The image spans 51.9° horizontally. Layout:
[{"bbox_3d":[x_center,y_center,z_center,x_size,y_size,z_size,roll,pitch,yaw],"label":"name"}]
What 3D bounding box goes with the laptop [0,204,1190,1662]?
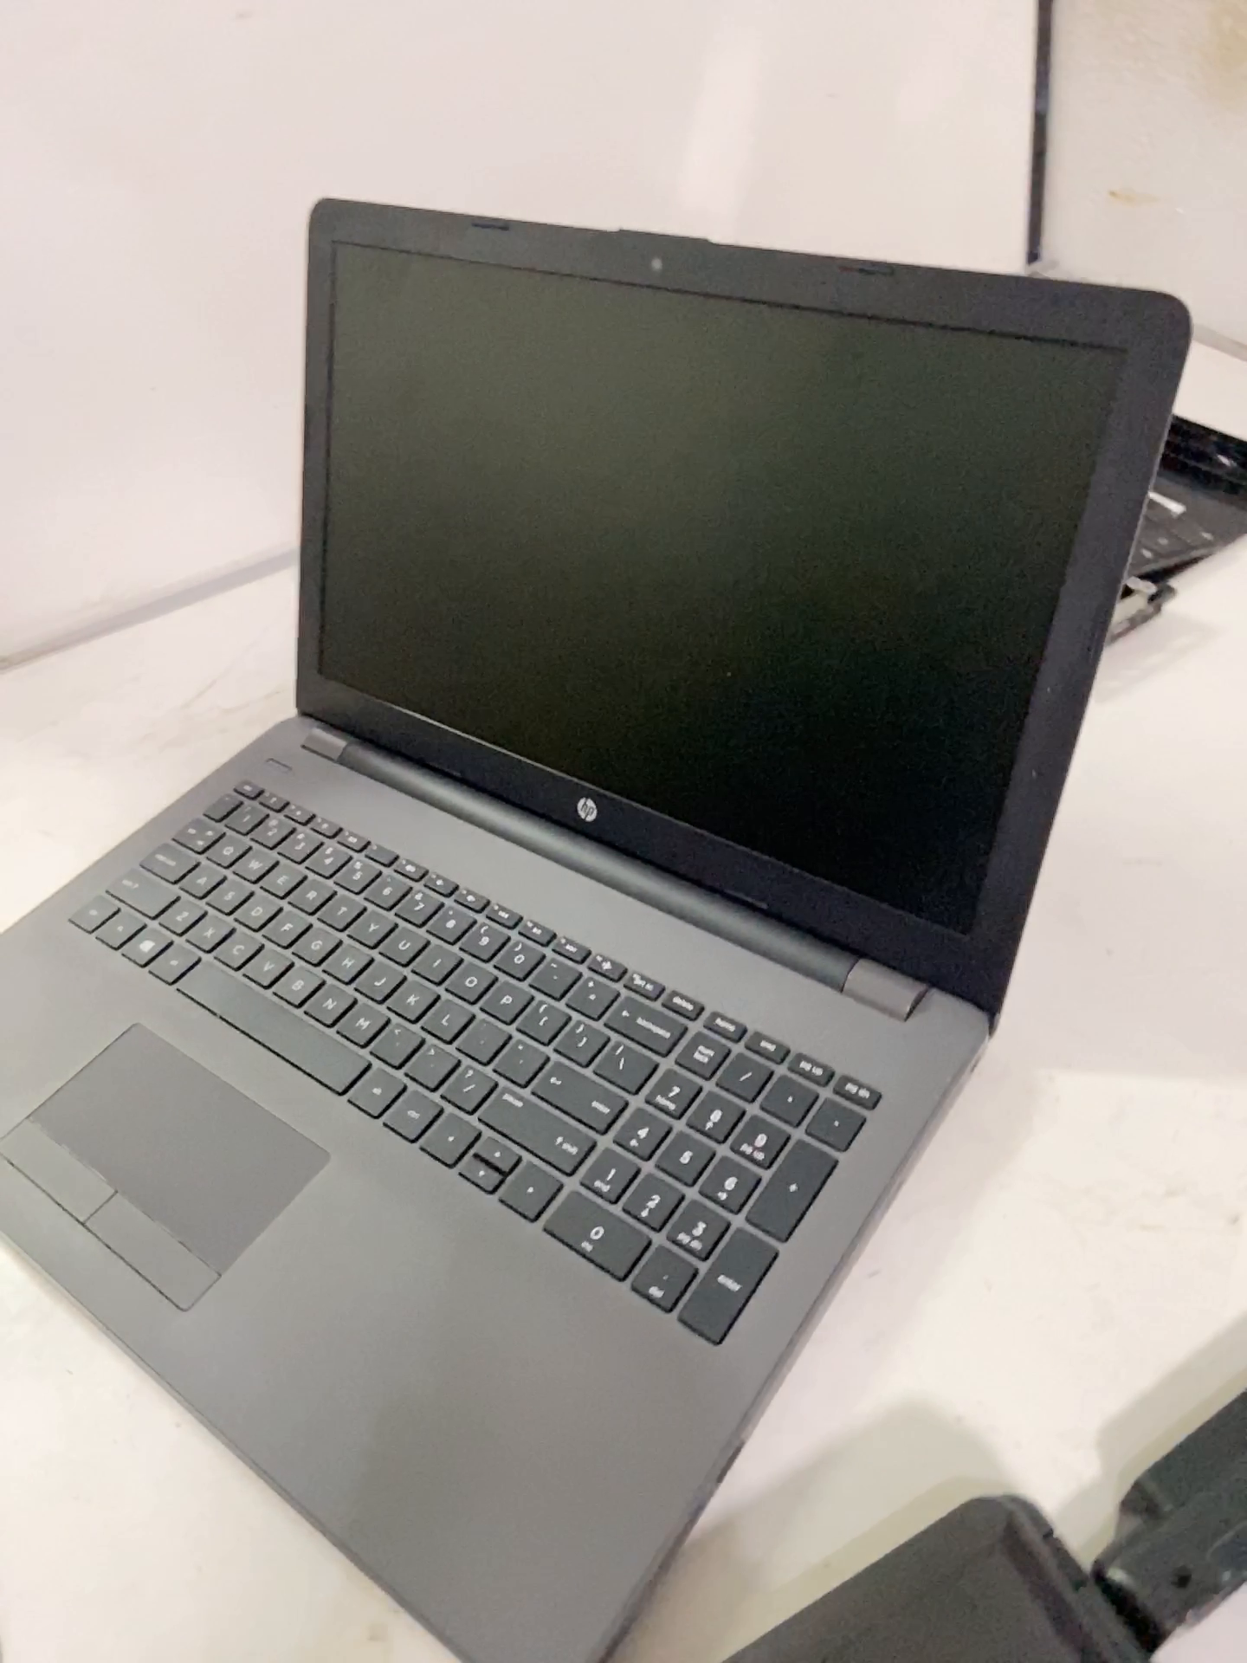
[{"bbox_3d":[-0.077,-0.027,0.446,0.381,0.206,0.365,22,54,31],"label":"laptop"}]
